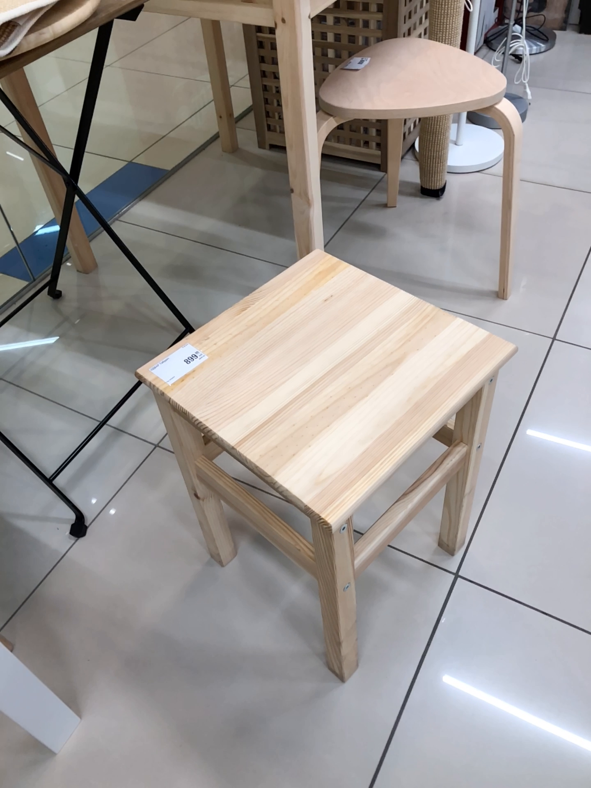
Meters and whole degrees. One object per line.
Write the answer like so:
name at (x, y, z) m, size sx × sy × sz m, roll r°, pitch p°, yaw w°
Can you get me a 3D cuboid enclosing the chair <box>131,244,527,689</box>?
chair at (0.053, 0.098, 0.892) m, size 0.321 × 0.407 × 0.328 m, roll 34°, pitch 59°, yaw 31°
